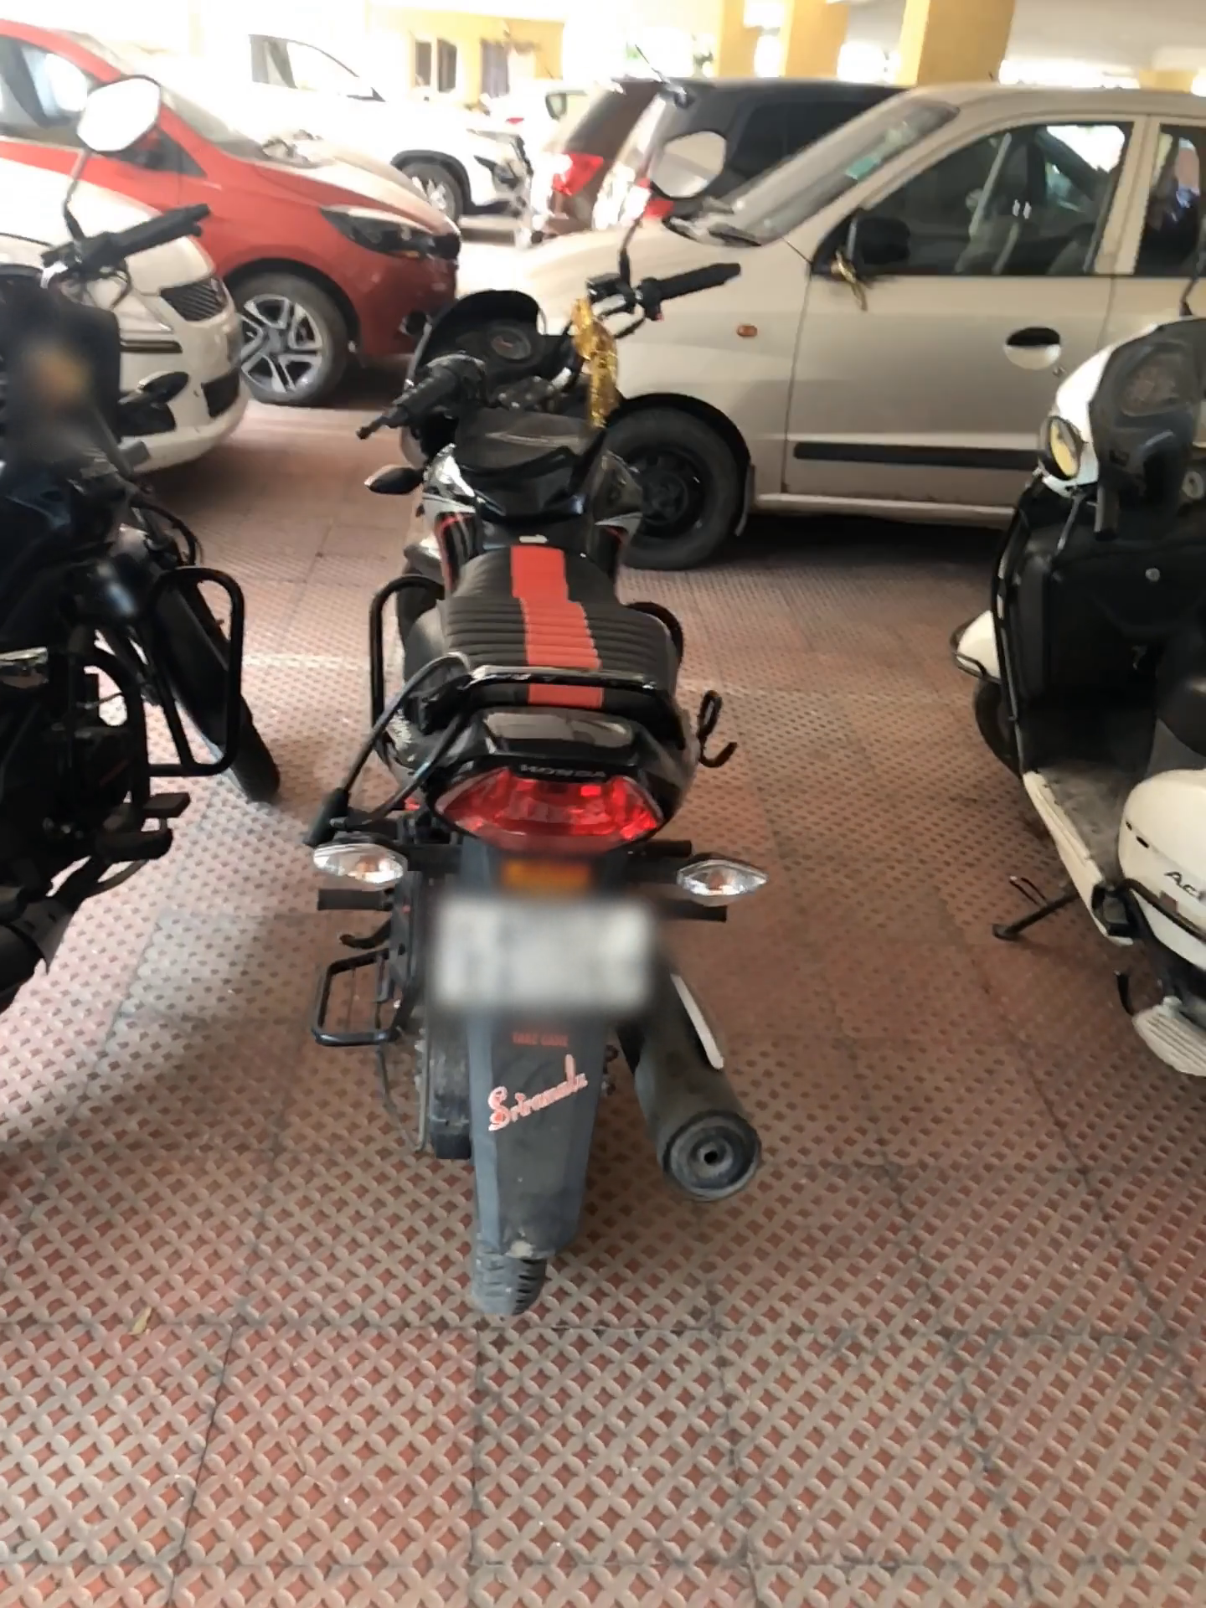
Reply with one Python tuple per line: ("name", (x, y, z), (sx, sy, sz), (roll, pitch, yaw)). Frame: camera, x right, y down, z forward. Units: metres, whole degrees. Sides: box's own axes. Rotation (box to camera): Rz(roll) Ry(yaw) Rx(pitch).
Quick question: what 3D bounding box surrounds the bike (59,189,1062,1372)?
("bike", (-0.239, -0.211, 1.877), (0.746, 1.011, 1.561), (-2, 29, -13))
